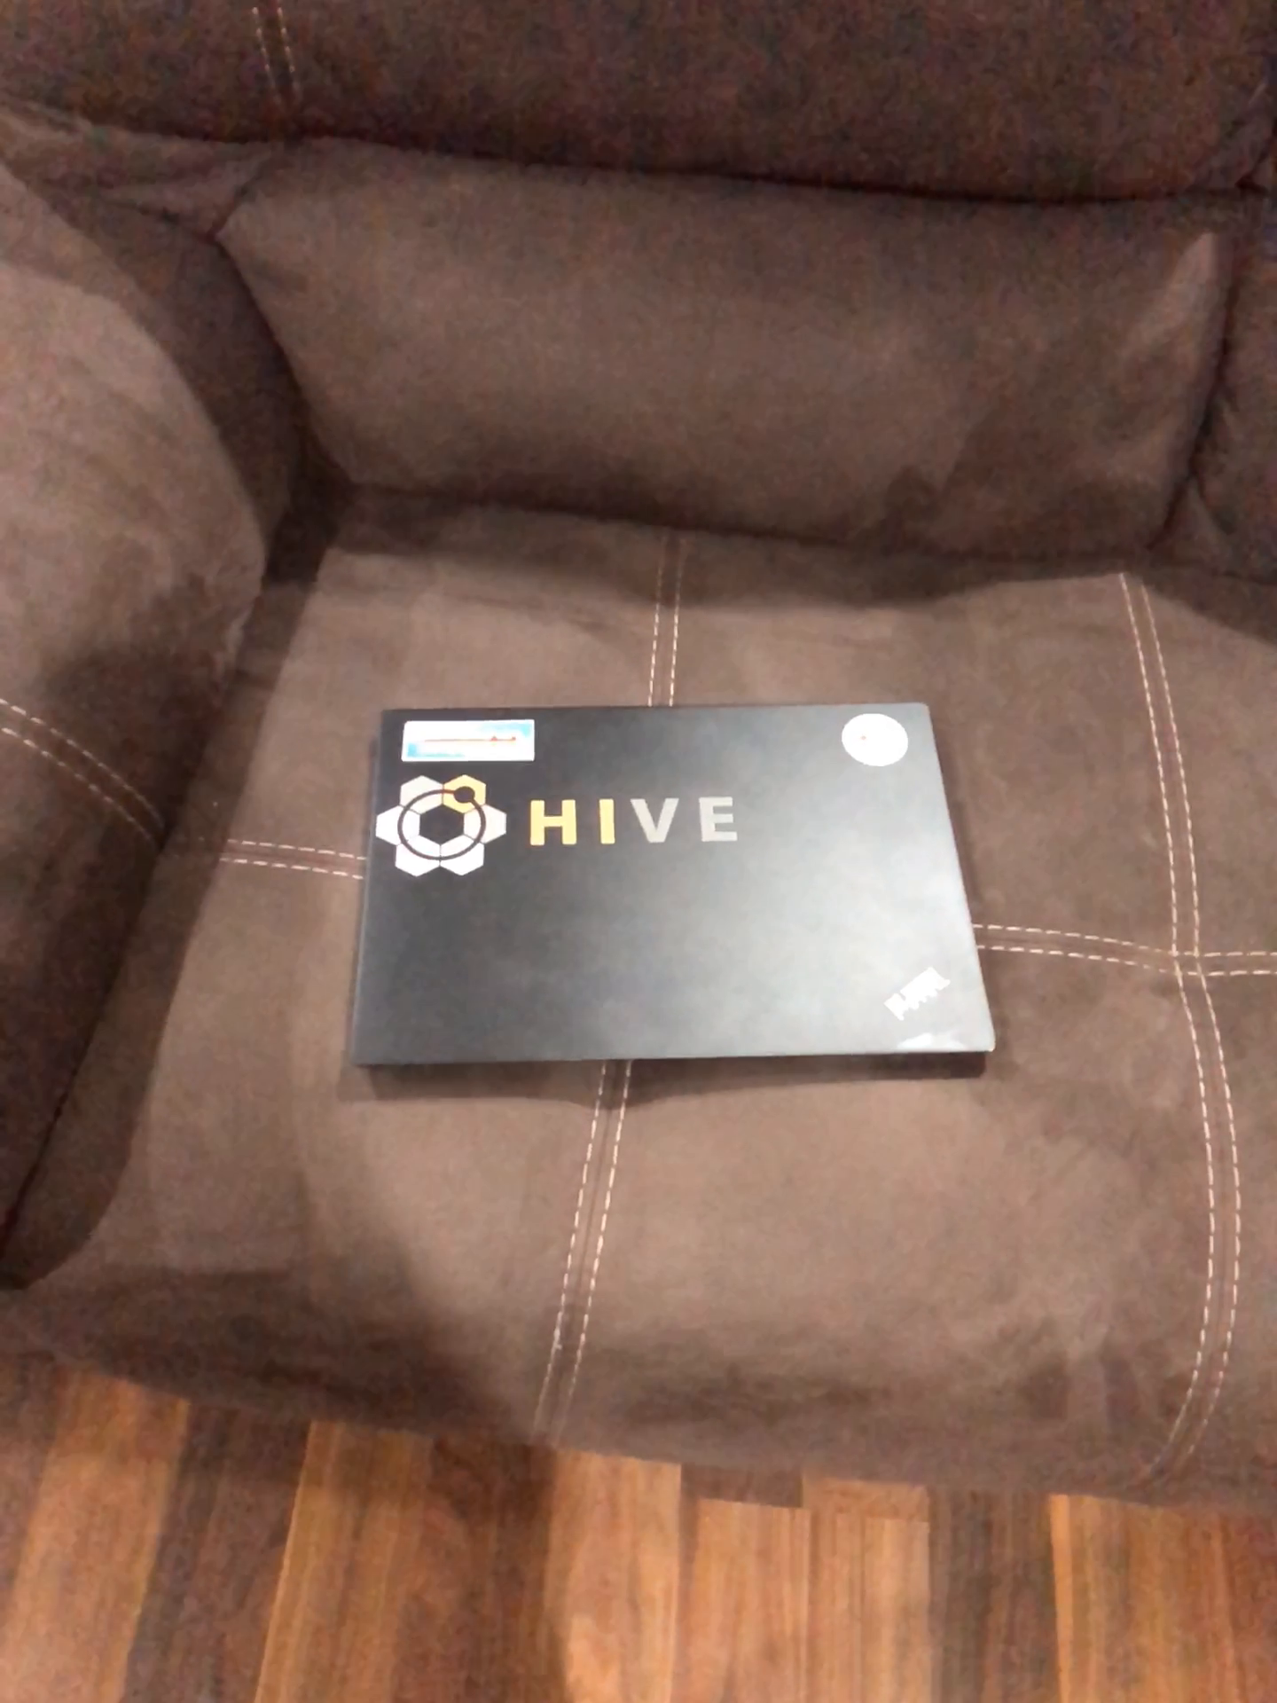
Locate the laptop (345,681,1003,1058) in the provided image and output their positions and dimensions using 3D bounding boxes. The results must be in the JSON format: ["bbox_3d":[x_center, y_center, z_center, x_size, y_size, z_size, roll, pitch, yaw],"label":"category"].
[{"bbox_3d":[0.015,0.002,0.774,0.328,0.019,0.236,-1,55,-1],"label":"laptop"}]
